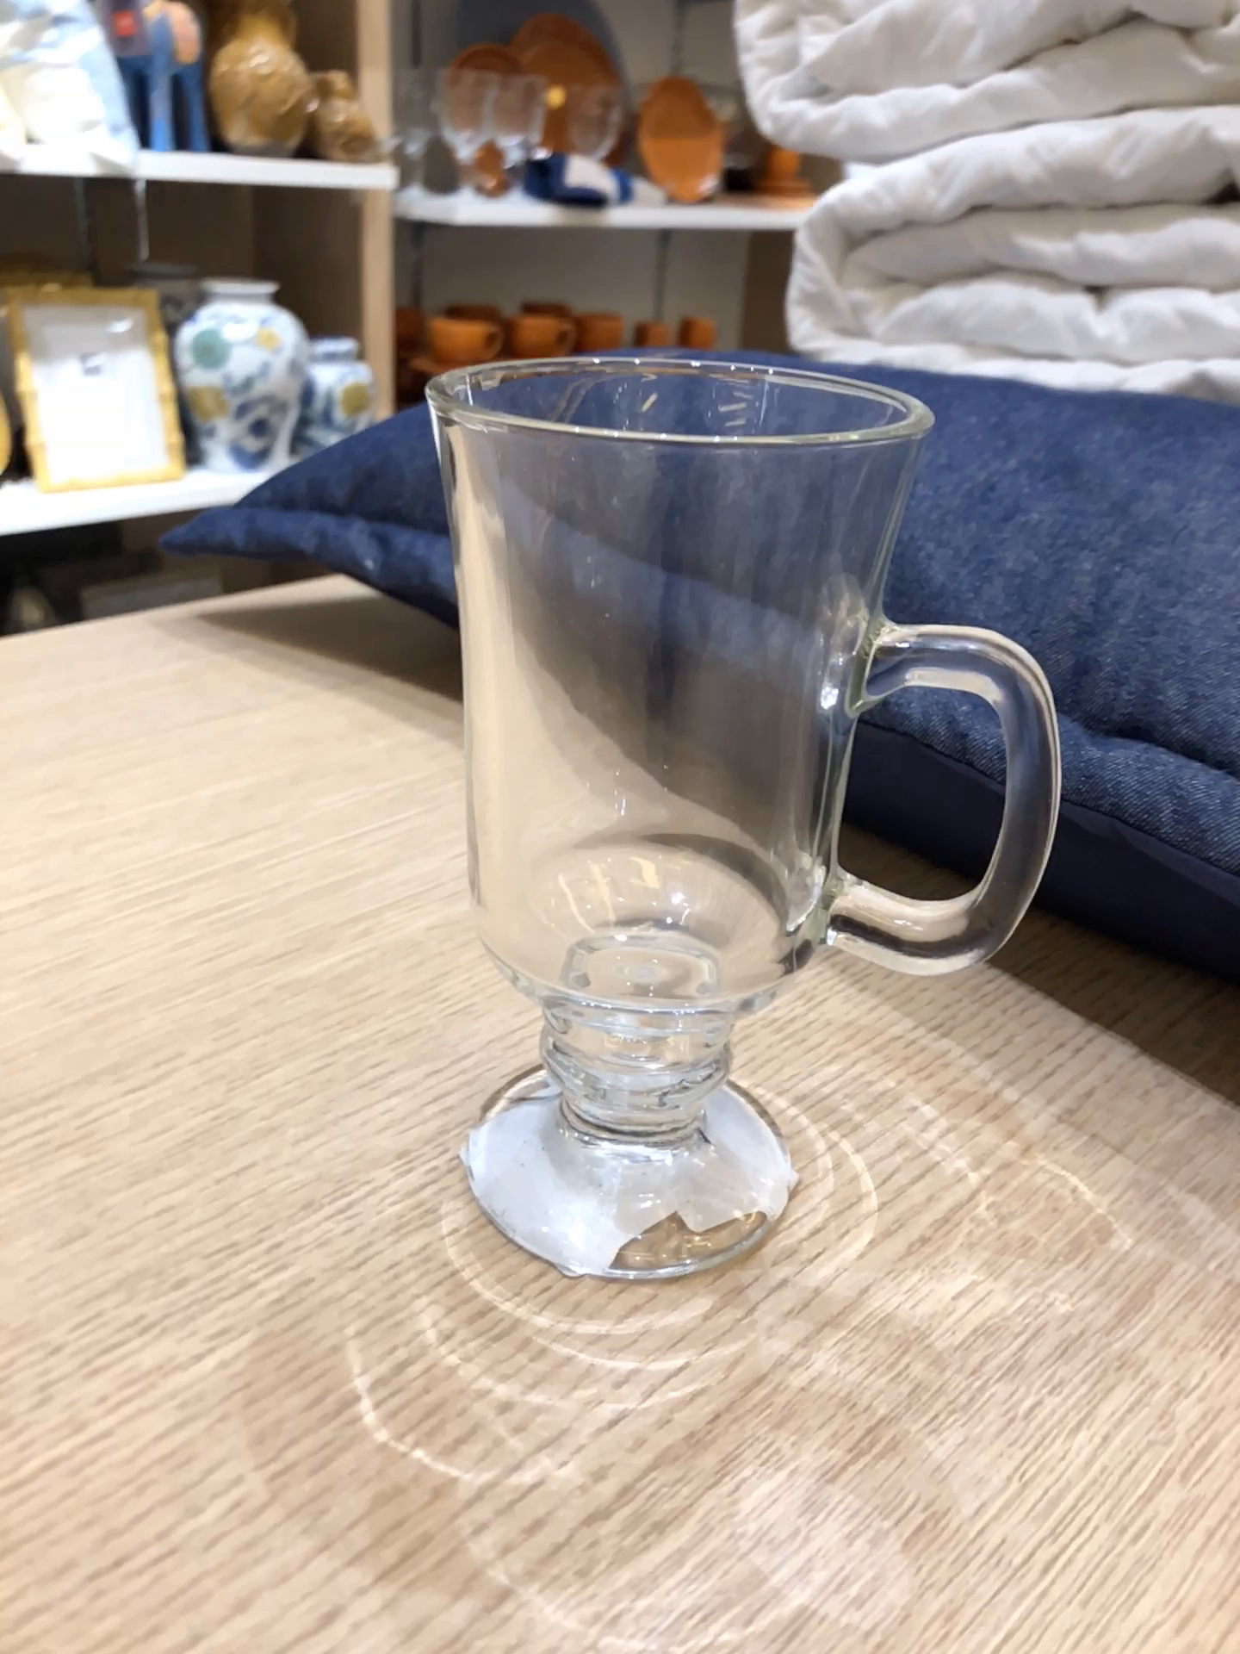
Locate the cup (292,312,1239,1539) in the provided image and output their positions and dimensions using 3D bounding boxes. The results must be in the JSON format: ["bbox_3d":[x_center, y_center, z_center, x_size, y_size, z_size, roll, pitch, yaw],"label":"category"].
[{"bbox_3d":[0.021,0.002,0.228,0.110,0.149,0.090,22,31,34],"label":"cup"}]

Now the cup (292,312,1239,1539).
[{"bbox_3d":[0.021,0.002,0.228,0.110,0.149,0.090,22,31,34],"label":"cup"}]
